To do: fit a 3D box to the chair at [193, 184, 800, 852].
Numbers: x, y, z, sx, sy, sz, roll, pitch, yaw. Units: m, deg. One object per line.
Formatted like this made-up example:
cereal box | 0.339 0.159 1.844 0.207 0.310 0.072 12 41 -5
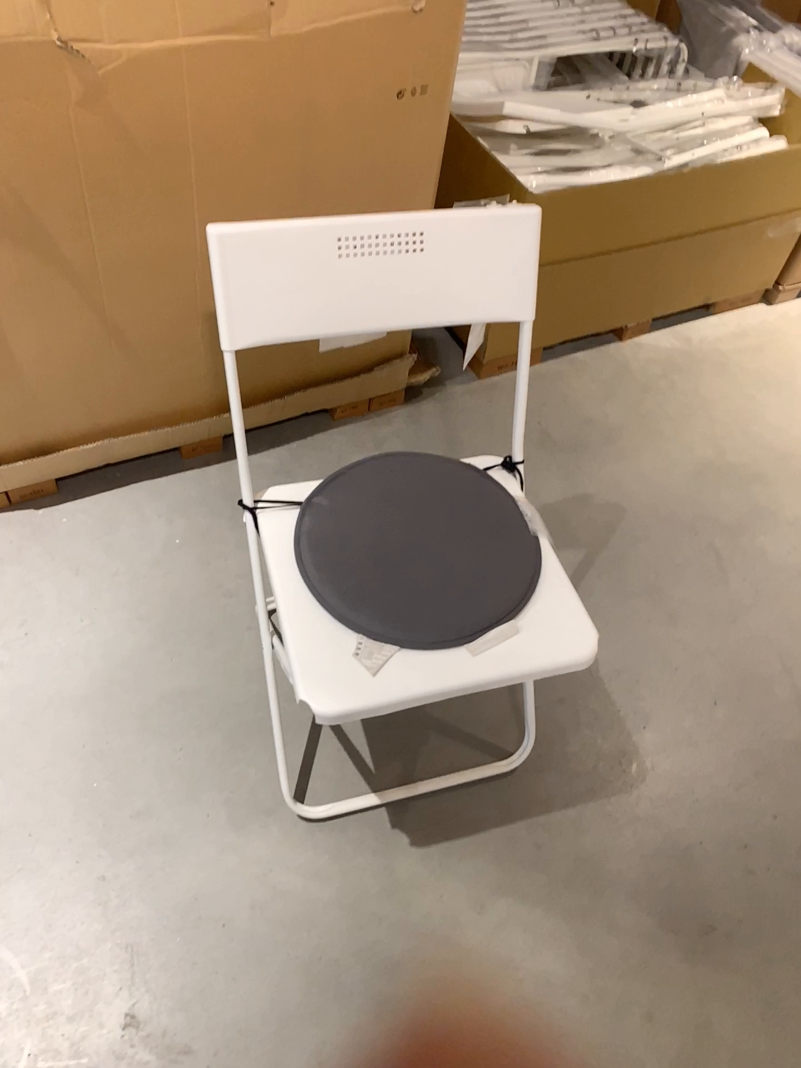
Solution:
chair | 0.031 0.015 1.092 0.490 0.738 0.481 -8 54 -14
